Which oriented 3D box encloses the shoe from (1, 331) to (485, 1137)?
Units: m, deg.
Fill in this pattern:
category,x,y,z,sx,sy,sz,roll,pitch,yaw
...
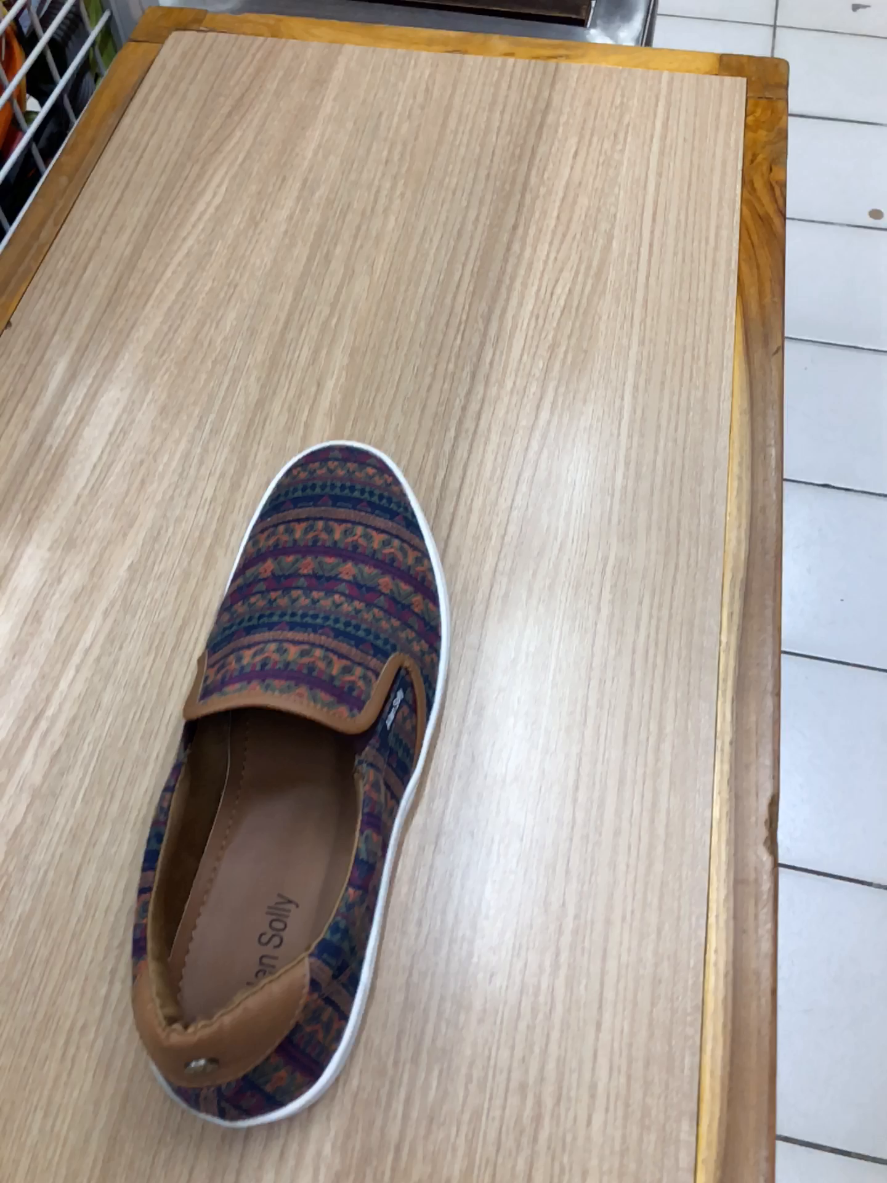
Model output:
category,x,y,z,sx,sy,sz,roll,pitch,yaw
shoe,-0.049,0.039,0.361,0.100,0.090,0.271,6,60,5
